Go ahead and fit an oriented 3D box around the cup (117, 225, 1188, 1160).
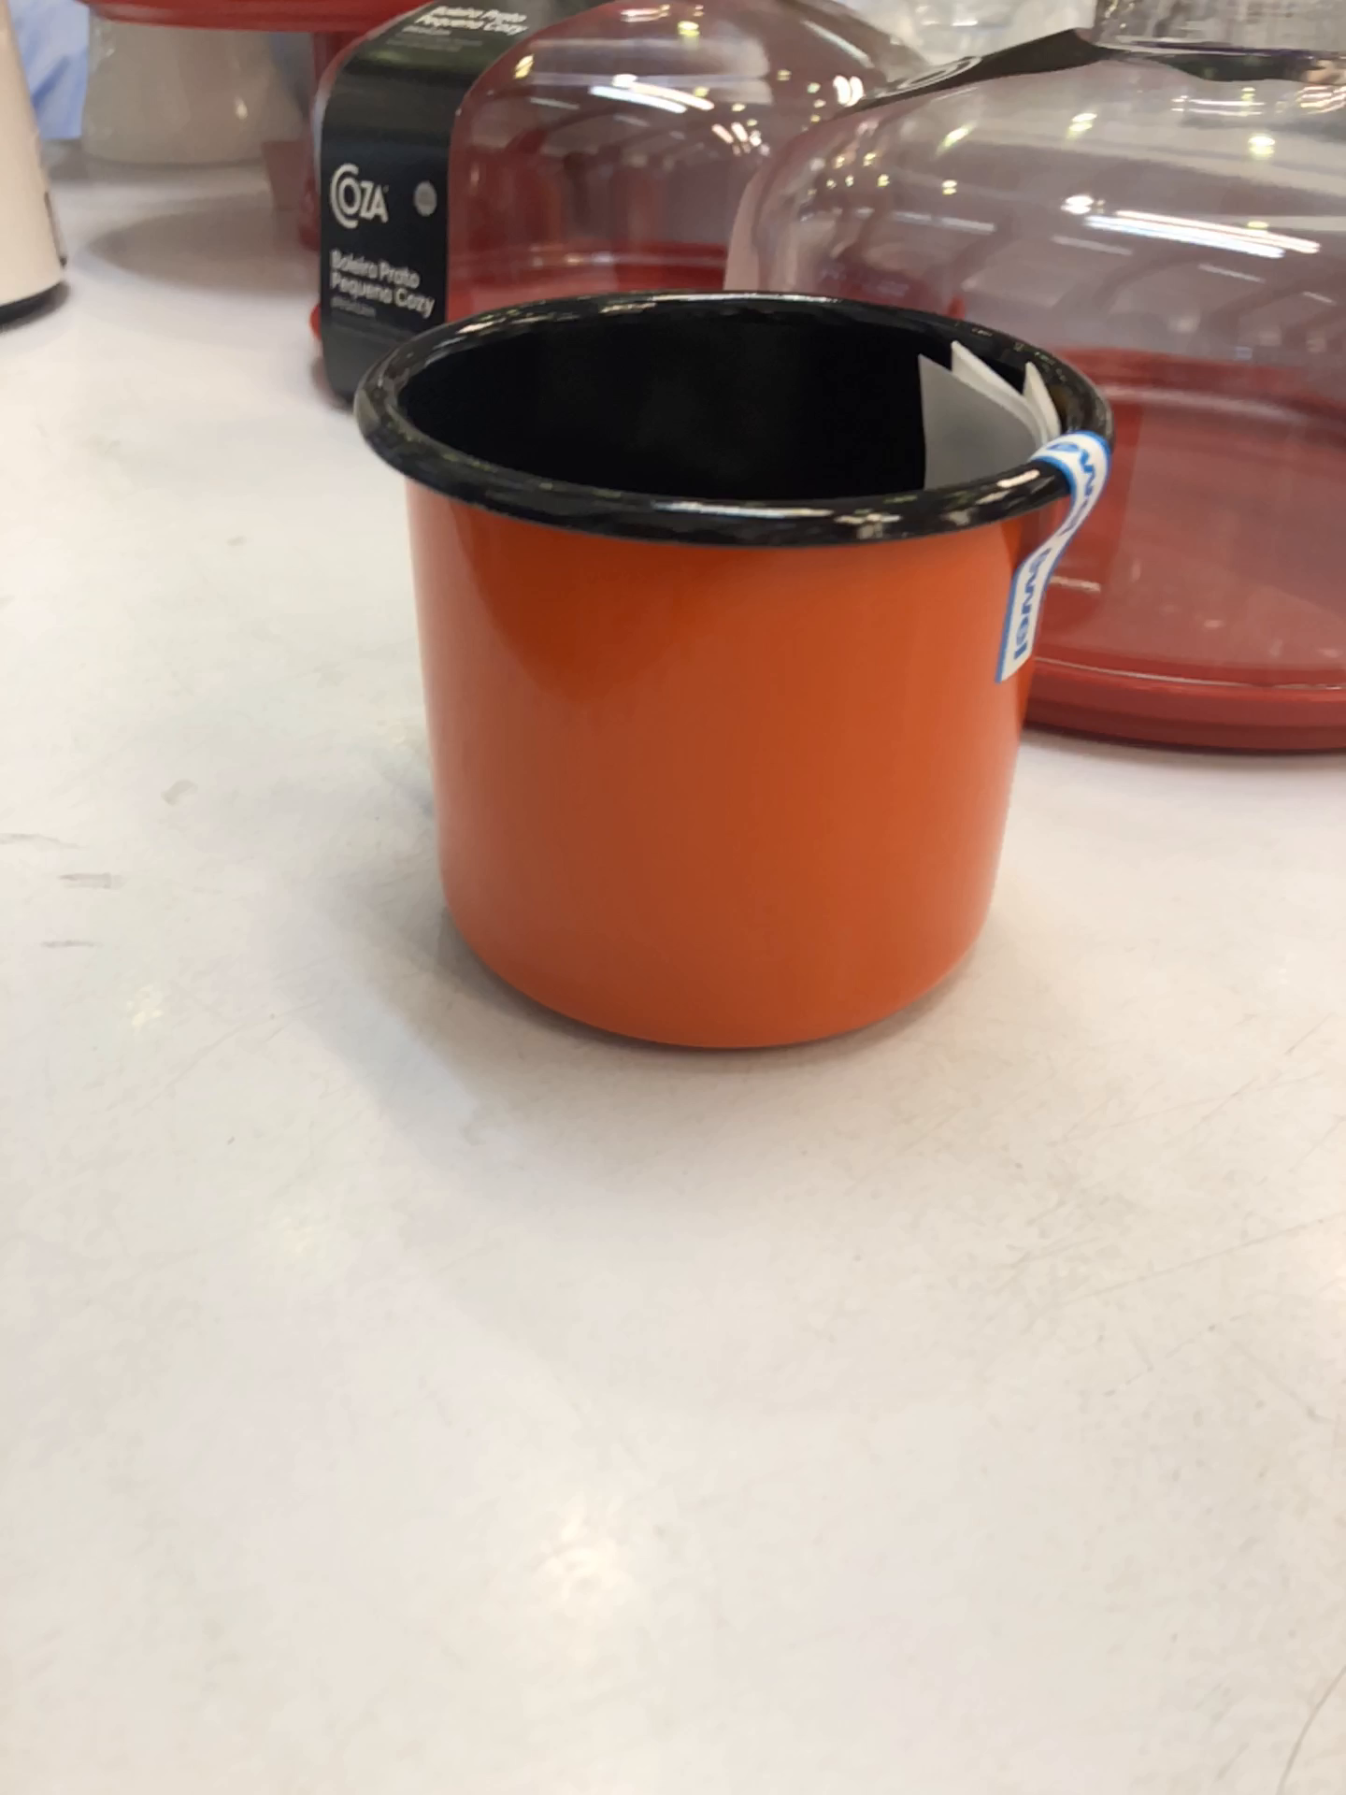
[{"bbox_3d":[-0.008,-0.039,0.203,0.080,0.069,0.111,-24,42,-30],"label":"cup"}]
